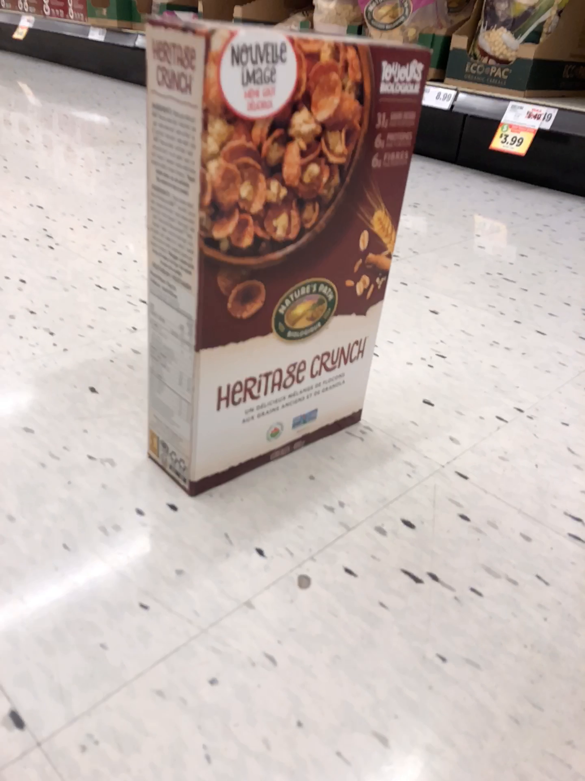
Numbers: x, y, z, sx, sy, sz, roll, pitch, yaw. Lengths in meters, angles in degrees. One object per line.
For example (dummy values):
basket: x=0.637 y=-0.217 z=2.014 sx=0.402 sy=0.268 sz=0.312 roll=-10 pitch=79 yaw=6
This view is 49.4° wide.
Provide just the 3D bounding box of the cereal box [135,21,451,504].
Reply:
cereal box: x=-0.004 y=-0.076 z=0.393 sx=0.171 sy=0.248 sz=0.060 roll=-20 pitch=39 yaw=-39
